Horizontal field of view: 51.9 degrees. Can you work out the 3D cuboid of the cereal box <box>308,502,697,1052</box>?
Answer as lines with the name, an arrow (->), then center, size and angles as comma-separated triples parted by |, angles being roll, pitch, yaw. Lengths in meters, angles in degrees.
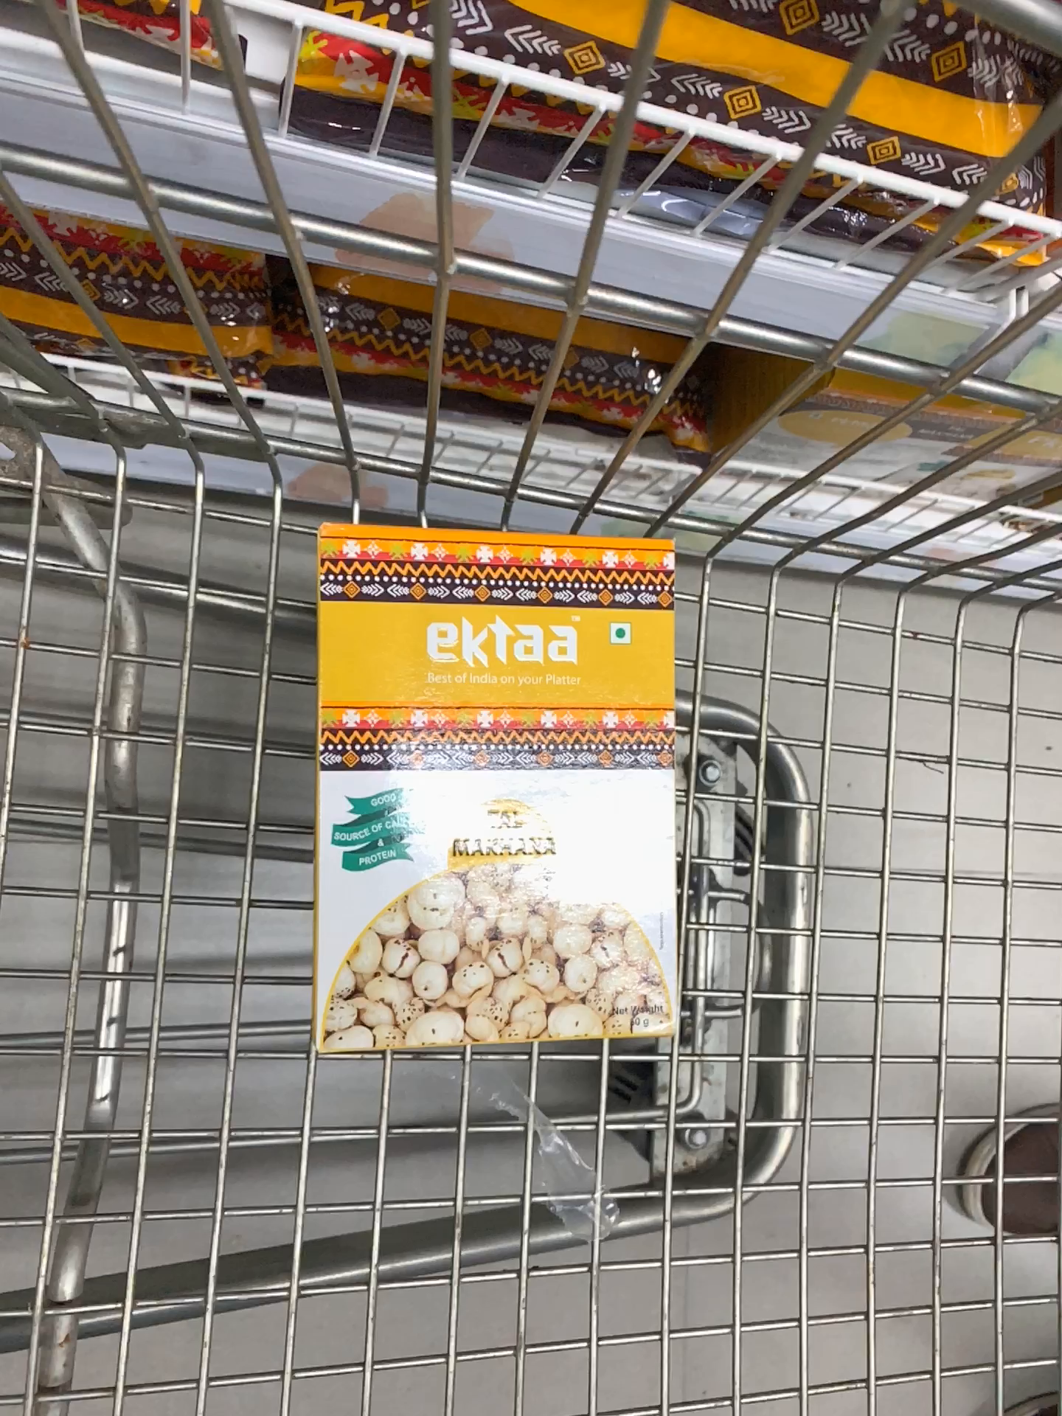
cereal box -> -0.014, 0.024, 0.404 | 0.130, 0.070, 0.180 | 1, 90, -10
